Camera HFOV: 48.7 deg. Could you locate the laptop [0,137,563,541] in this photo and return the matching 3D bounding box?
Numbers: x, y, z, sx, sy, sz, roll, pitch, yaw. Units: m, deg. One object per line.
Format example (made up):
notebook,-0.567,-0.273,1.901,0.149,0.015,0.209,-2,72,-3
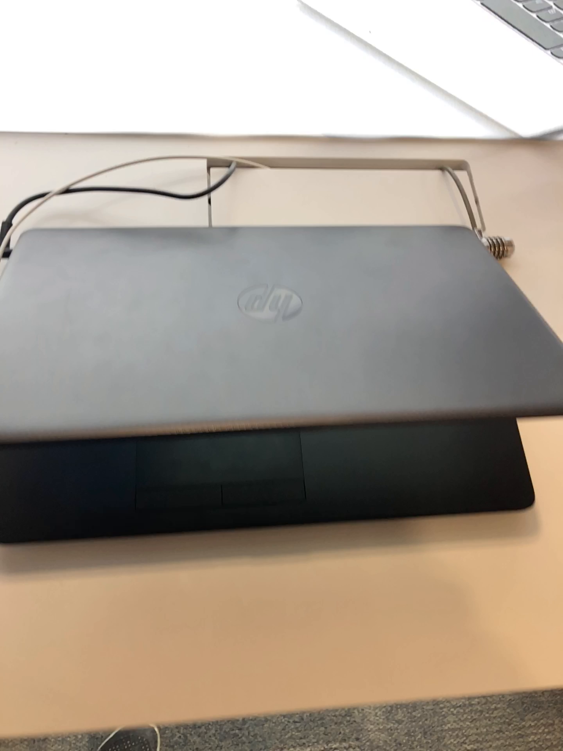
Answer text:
laptop,-0.016,-0.028,0.419,0.351,0.107,0.238,-1,65,-6
